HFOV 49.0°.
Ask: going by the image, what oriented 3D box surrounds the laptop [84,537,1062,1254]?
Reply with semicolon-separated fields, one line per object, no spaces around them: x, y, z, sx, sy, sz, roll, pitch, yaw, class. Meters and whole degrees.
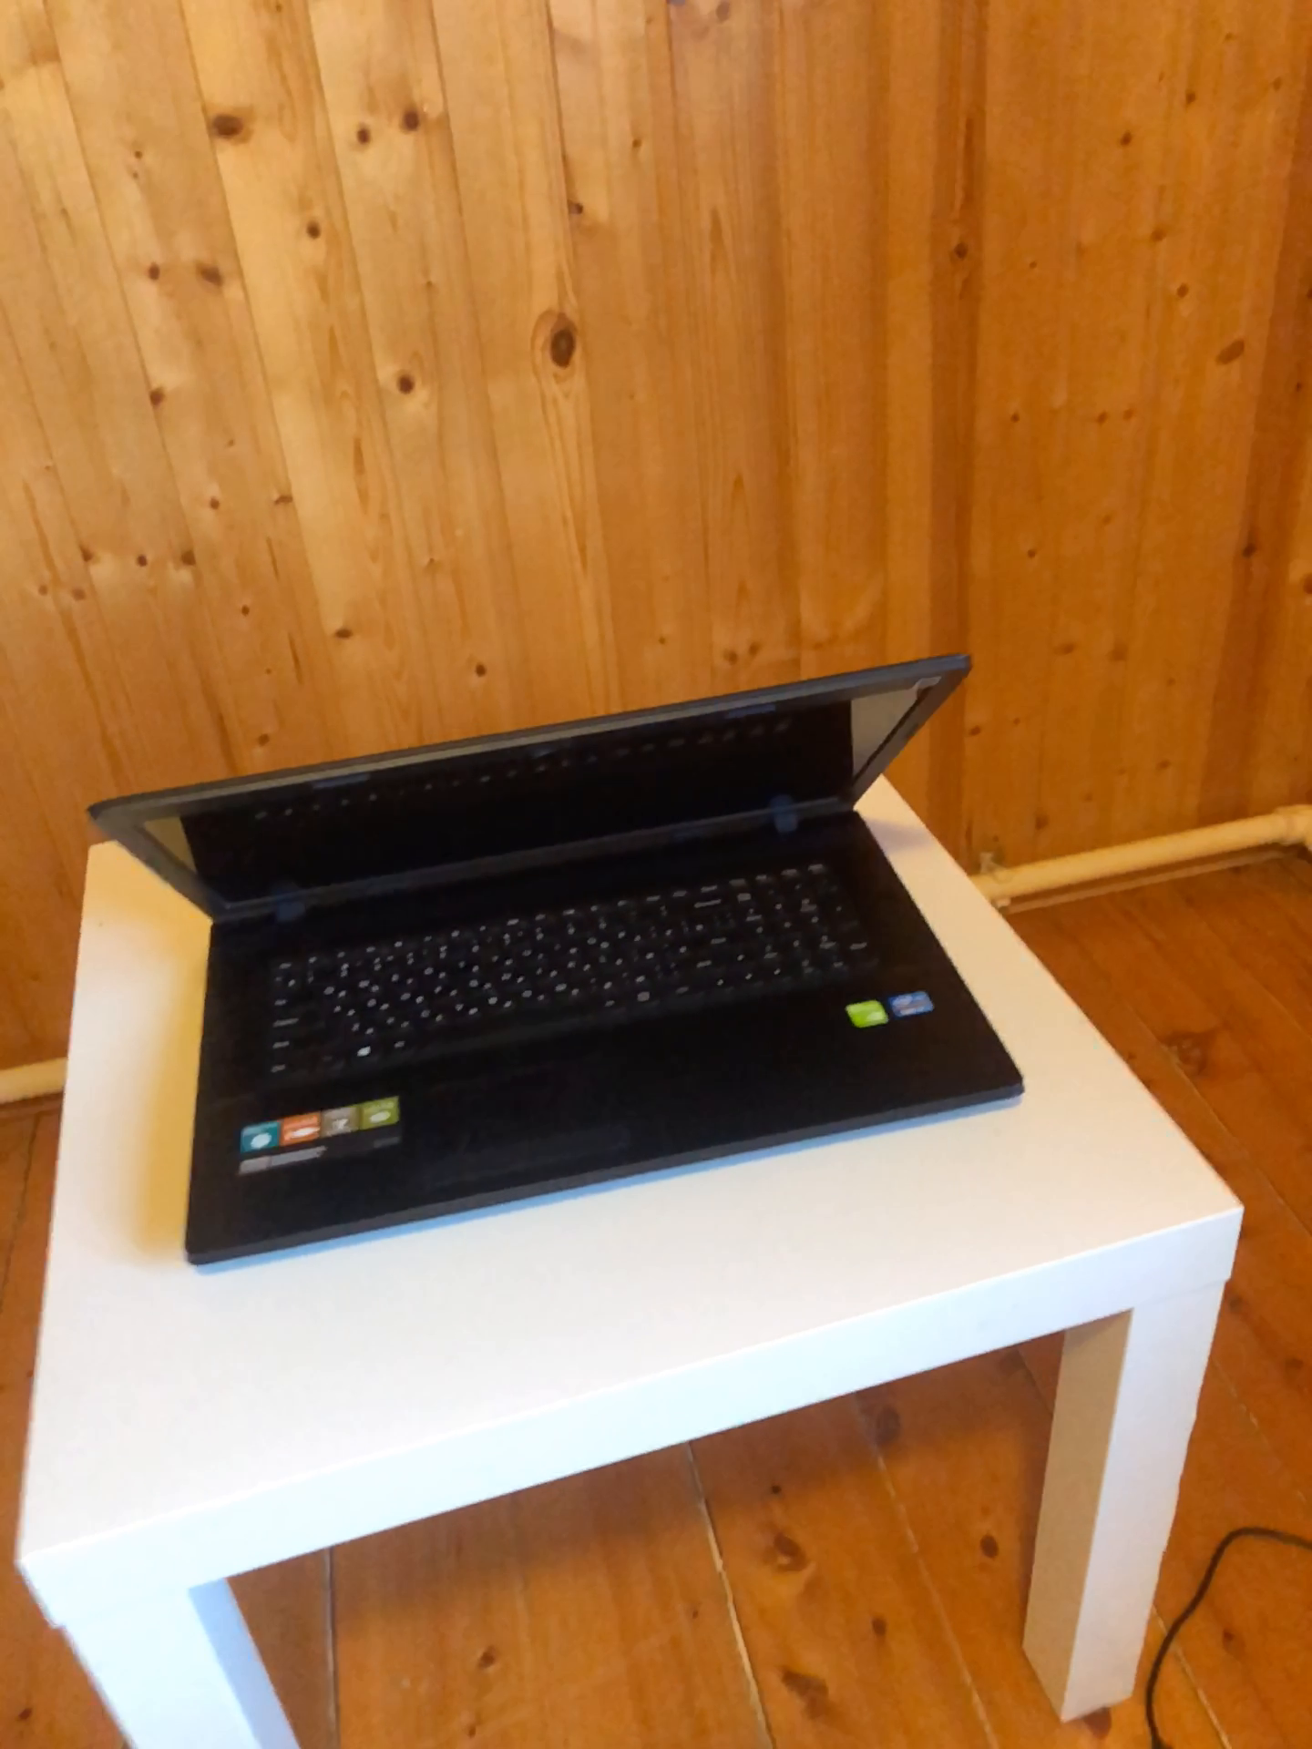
-0.040;-0.011;0.731;0.401;0.183;0.253;-10;35;-9;laptop
